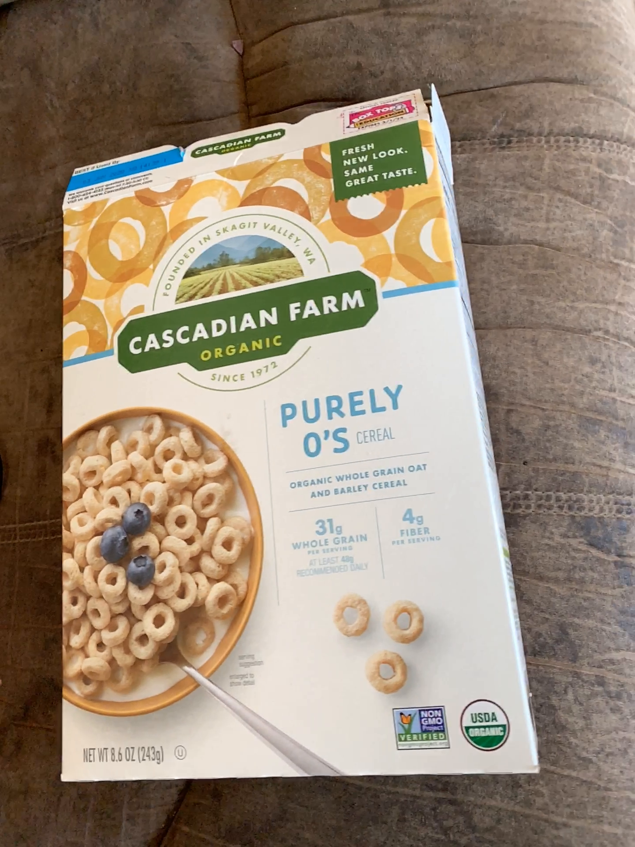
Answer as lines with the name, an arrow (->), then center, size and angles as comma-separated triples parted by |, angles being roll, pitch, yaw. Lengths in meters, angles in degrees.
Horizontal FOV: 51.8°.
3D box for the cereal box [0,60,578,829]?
cereal box -> -0.025, 0.004, 0.282 | 0.200, 0.070, 0.280 | -9, 69, 14
